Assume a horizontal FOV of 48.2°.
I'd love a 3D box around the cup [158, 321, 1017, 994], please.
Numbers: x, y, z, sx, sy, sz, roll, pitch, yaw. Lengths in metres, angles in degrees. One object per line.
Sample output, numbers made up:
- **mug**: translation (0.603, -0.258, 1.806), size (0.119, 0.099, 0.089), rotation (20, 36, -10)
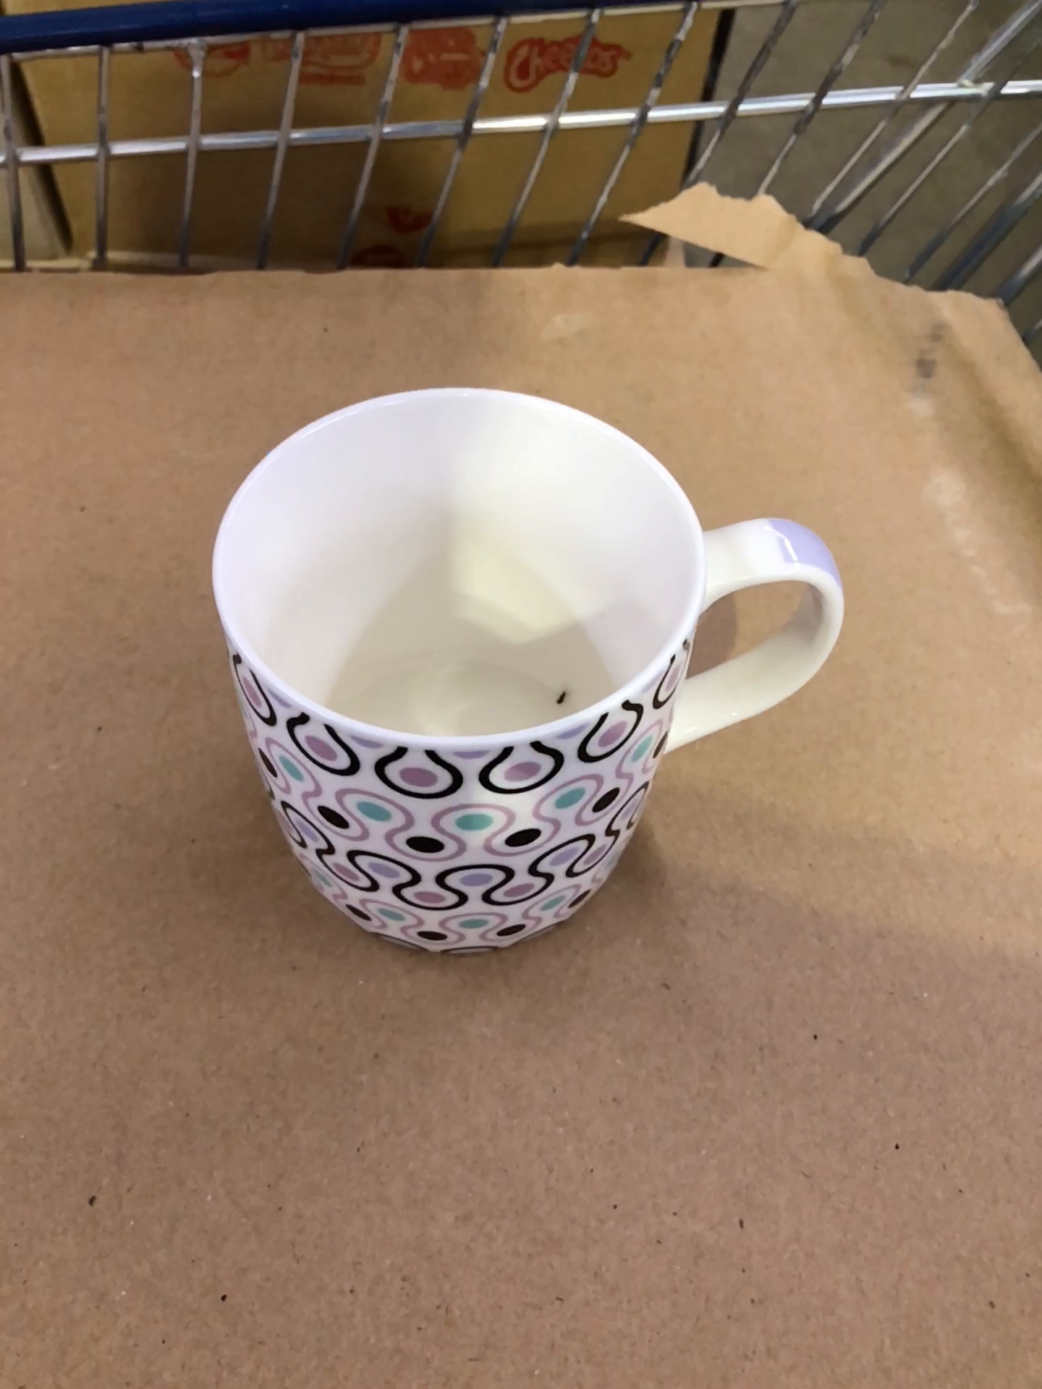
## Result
- **cup**: translation (0.004, -0.009, 0.249), size (0.140, 0.090, 0.090), rotation (-8, 54, -10)
